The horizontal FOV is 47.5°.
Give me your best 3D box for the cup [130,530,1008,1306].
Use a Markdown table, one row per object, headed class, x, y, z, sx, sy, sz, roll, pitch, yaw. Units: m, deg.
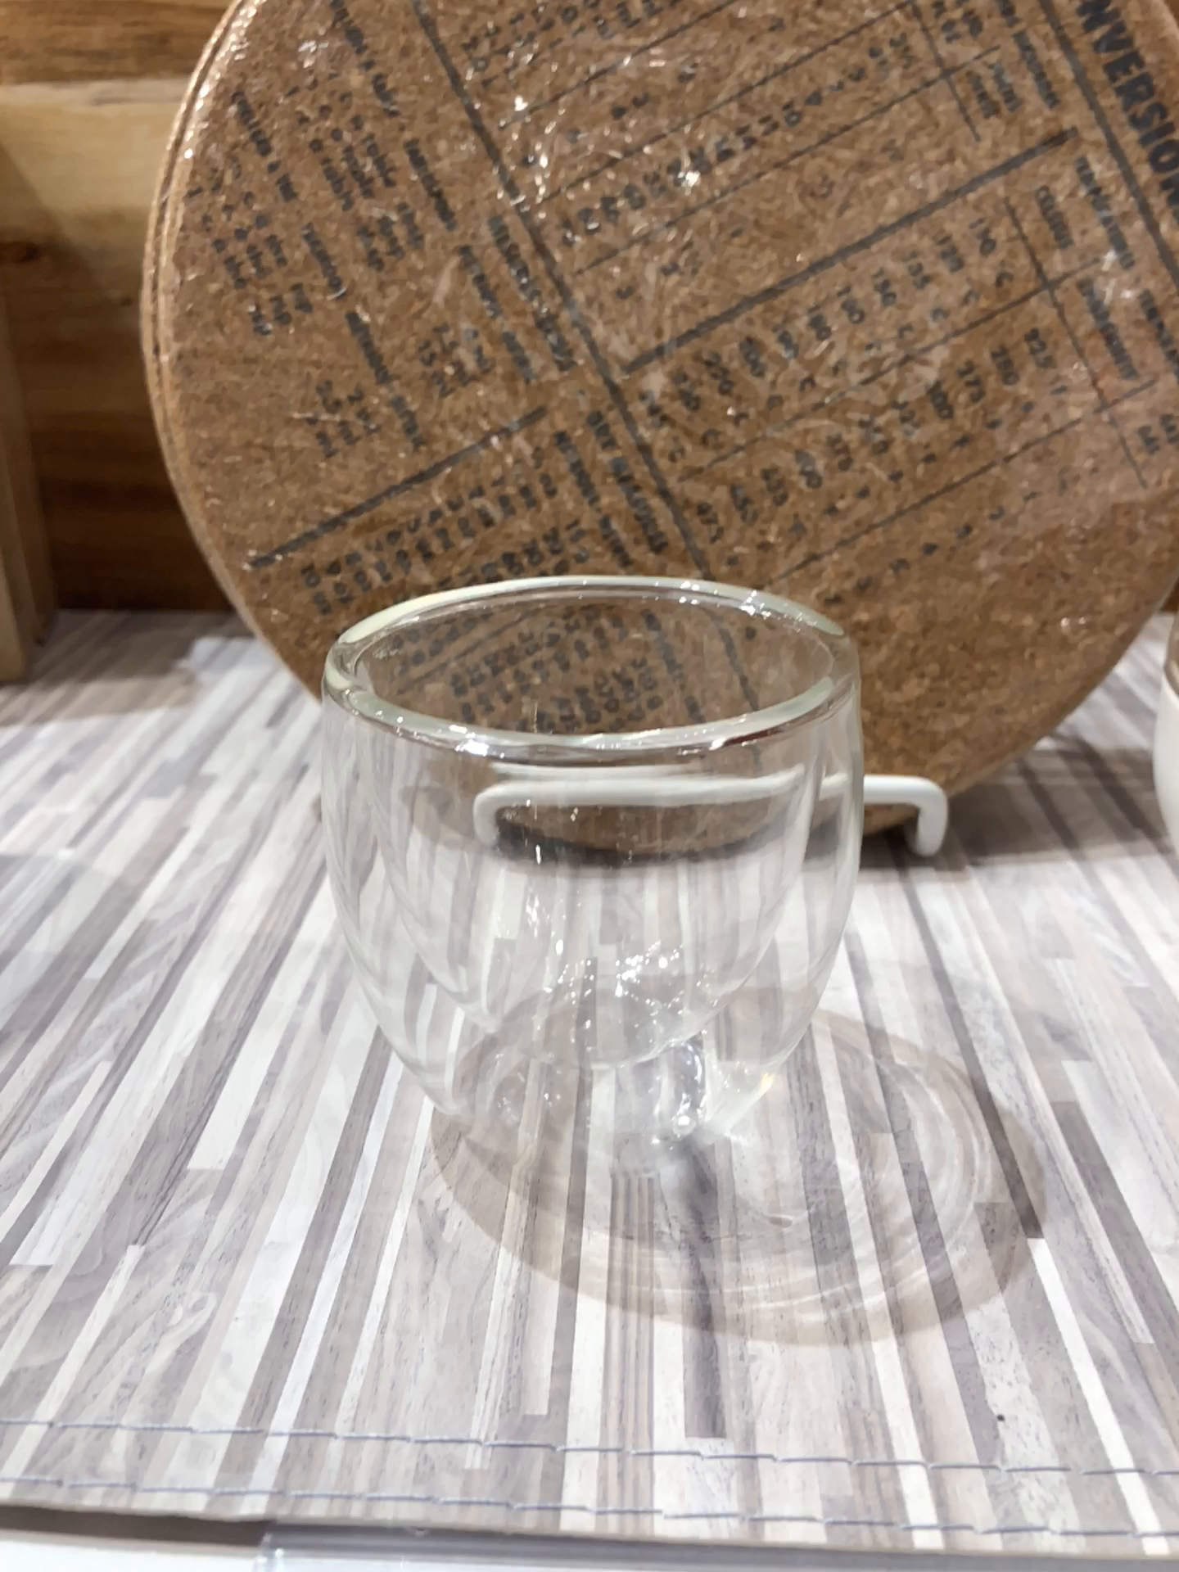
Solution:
| class | x | y | z | sx | sy | sz | roll | pitch | yaw |
| --- | --- | --- | --- | --- | --- | --- | --- | --- | --- |
| cup | 0.001 | 0.006 | 0.158 | 0.070 | 0.050 | 0.070 | -1 | 24 | 0 |
